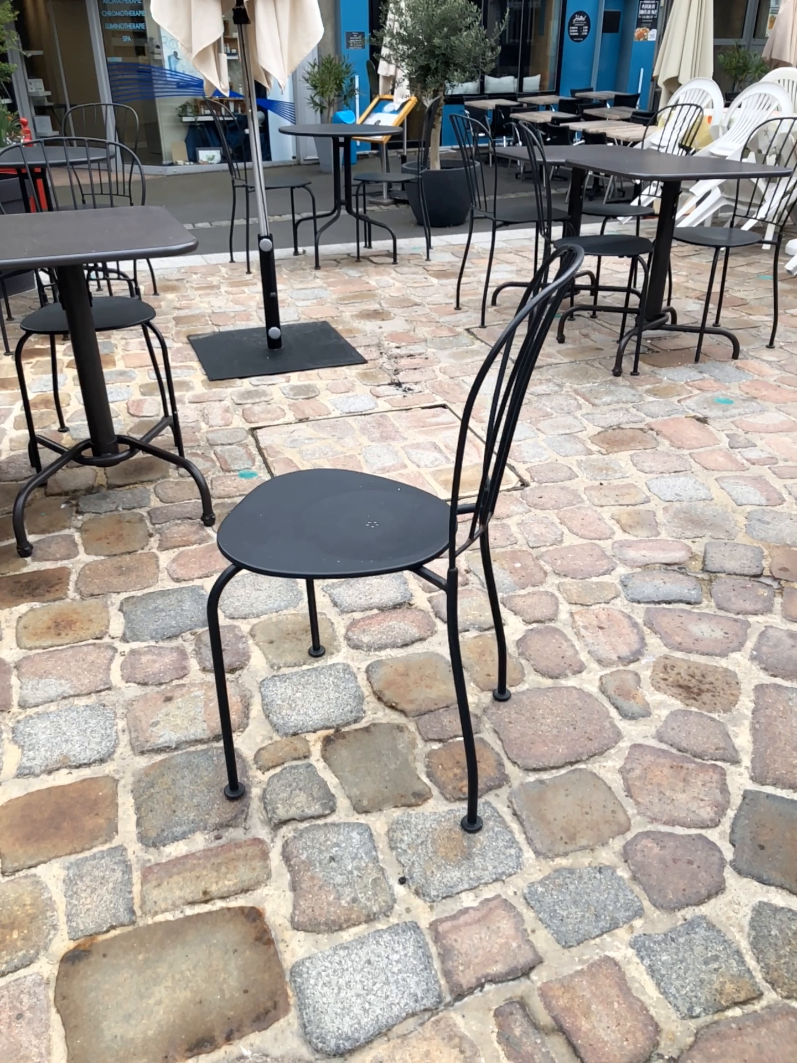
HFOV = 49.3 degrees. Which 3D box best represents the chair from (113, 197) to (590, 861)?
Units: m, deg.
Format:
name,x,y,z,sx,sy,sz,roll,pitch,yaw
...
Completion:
name,x,y,z,sx,sy,sz,roll,pitch,yaw
chair,-0.021,-0.018,1.250,0.470,0.795,0.423,8,30,14
